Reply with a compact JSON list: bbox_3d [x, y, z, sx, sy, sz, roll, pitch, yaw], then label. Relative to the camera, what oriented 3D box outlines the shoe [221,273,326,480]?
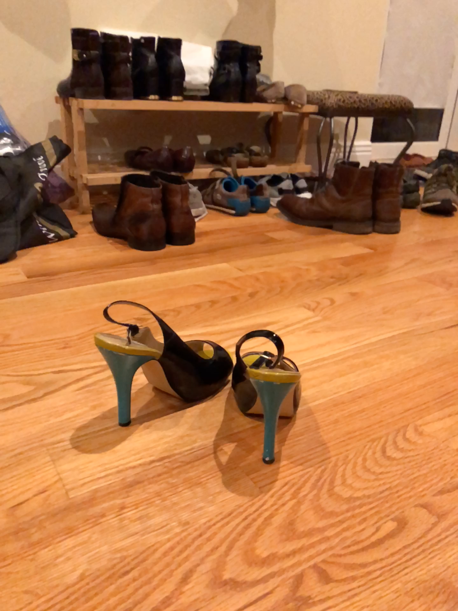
[{"bbox_3d":[0.043,0.063,0.545,0.085,0.131,0.202,3,23,2],"label":"shoe"}]

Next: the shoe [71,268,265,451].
[{"bbox_3d":[-0.060,0.048,0.570,0.085,0.121,0.205,21,29,38],"label":"shoe"}]
